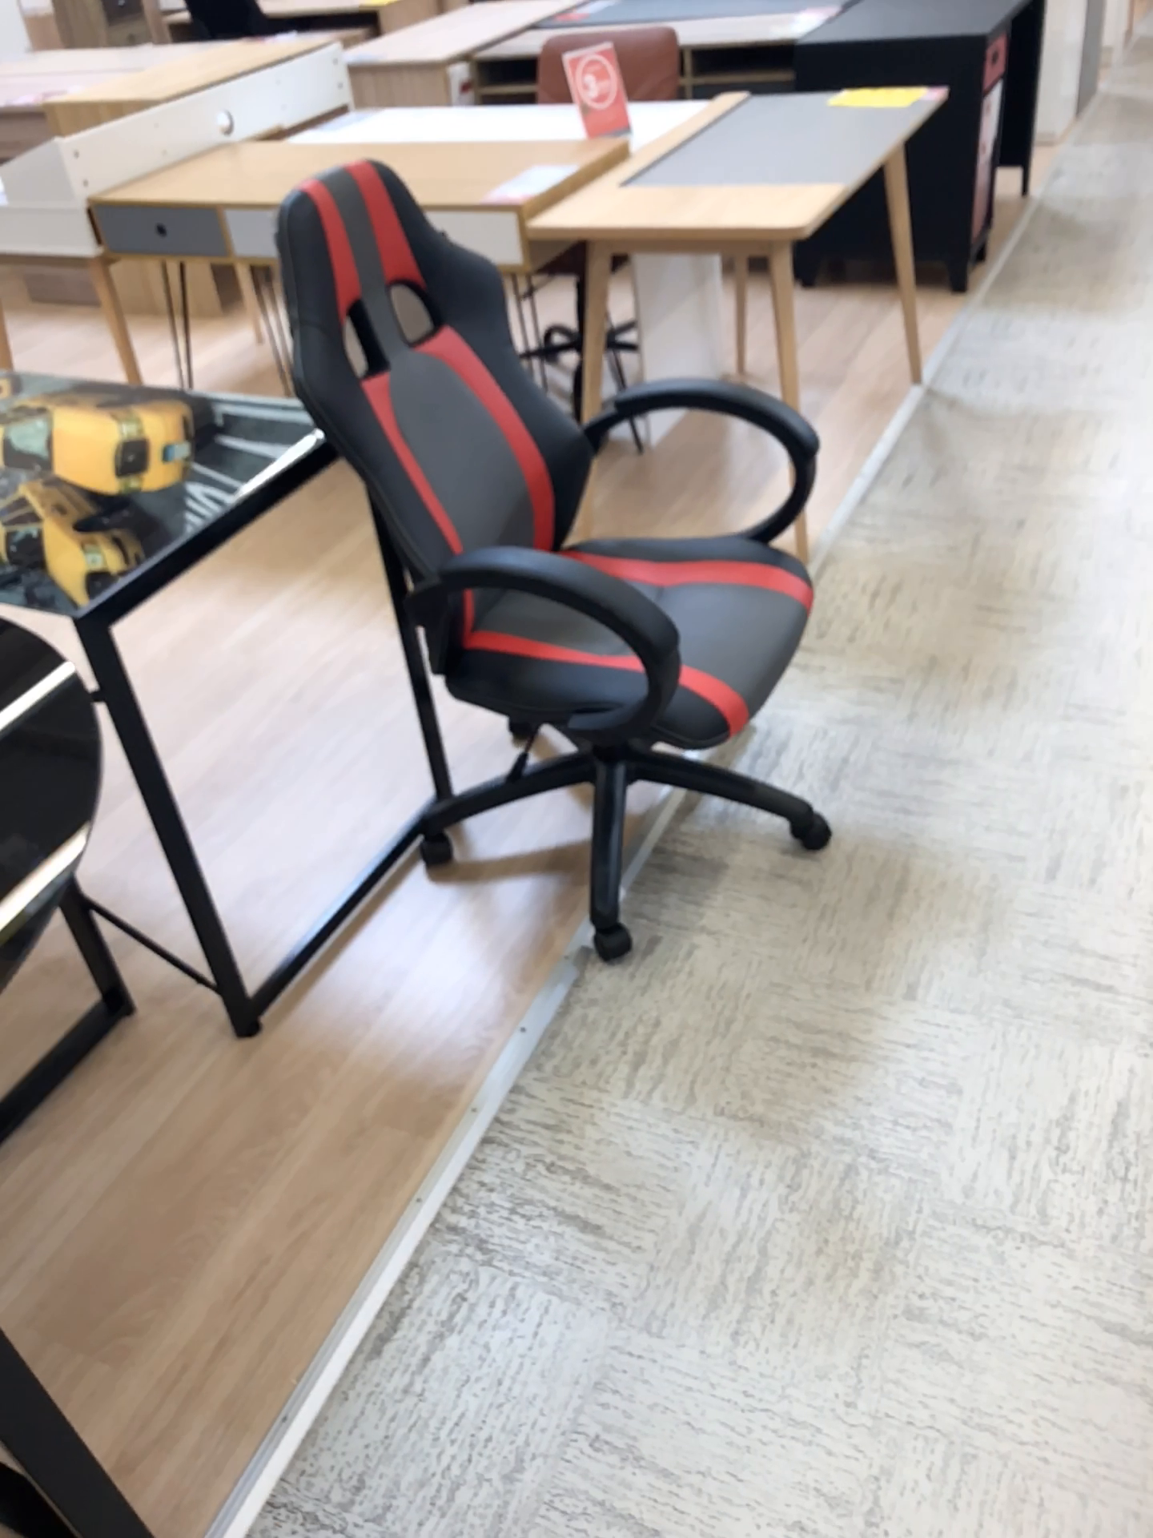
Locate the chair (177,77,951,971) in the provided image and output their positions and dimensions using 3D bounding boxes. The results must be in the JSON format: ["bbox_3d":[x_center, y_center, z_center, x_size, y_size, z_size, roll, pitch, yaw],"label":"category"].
[{"bbox_3d":[0.067,-0.367,1.780,0.690,0.925,0.694,11,40,24],"label":"chair"}]
